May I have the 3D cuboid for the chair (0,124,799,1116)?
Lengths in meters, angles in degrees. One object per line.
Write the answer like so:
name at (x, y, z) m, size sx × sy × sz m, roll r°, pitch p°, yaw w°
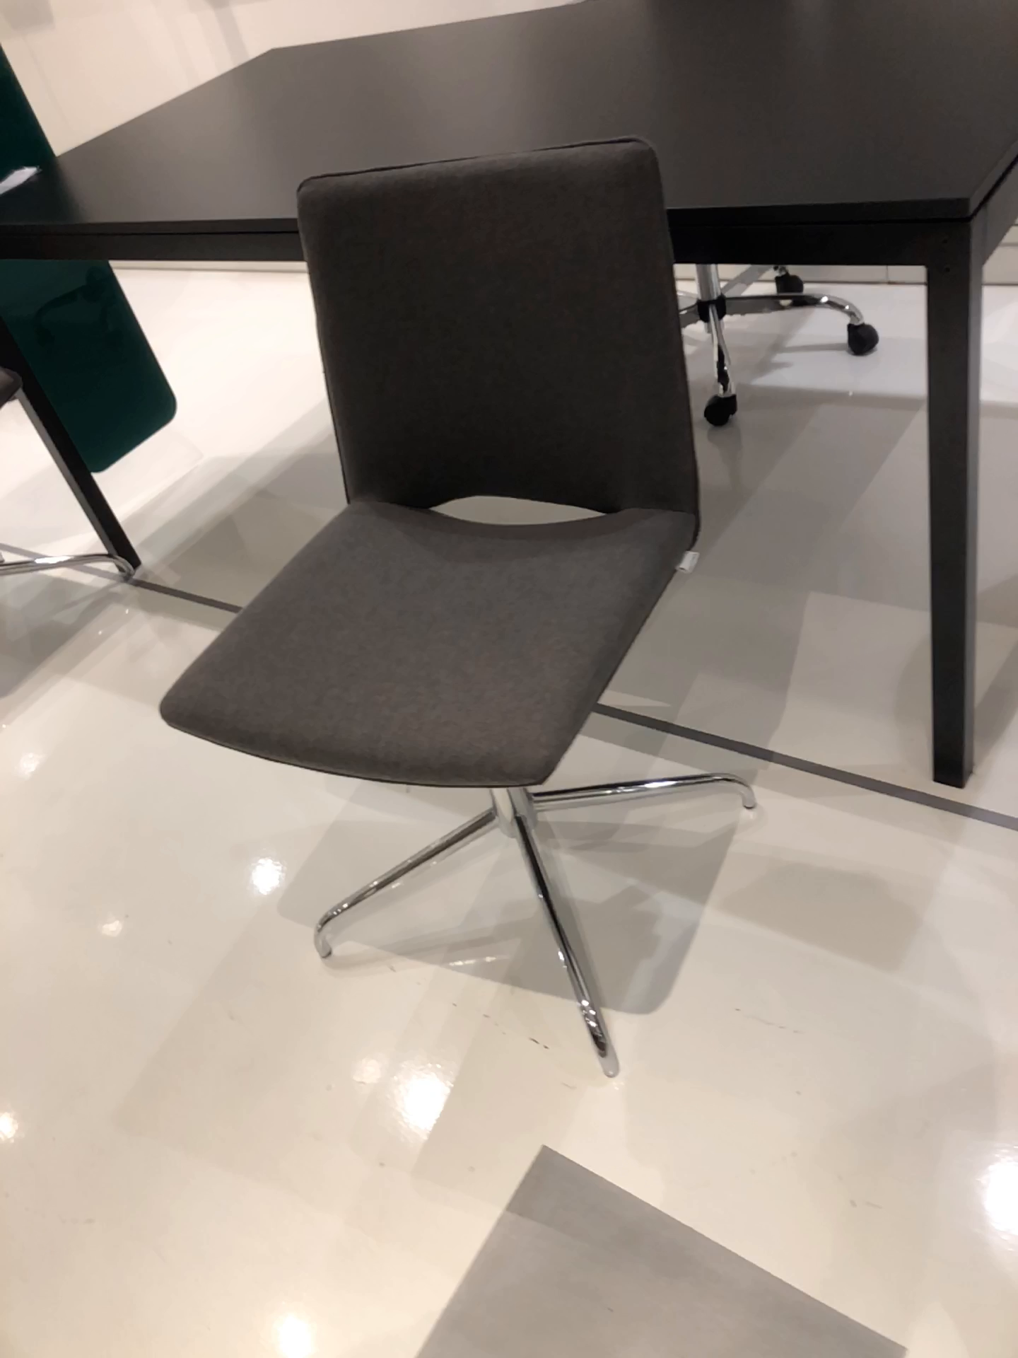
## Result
chair at (-0.045, -0.048, 1.243) m, size 0.521 × 0.844 × 0.533 m, roll 8°, pitch 45°, yaw 29°
